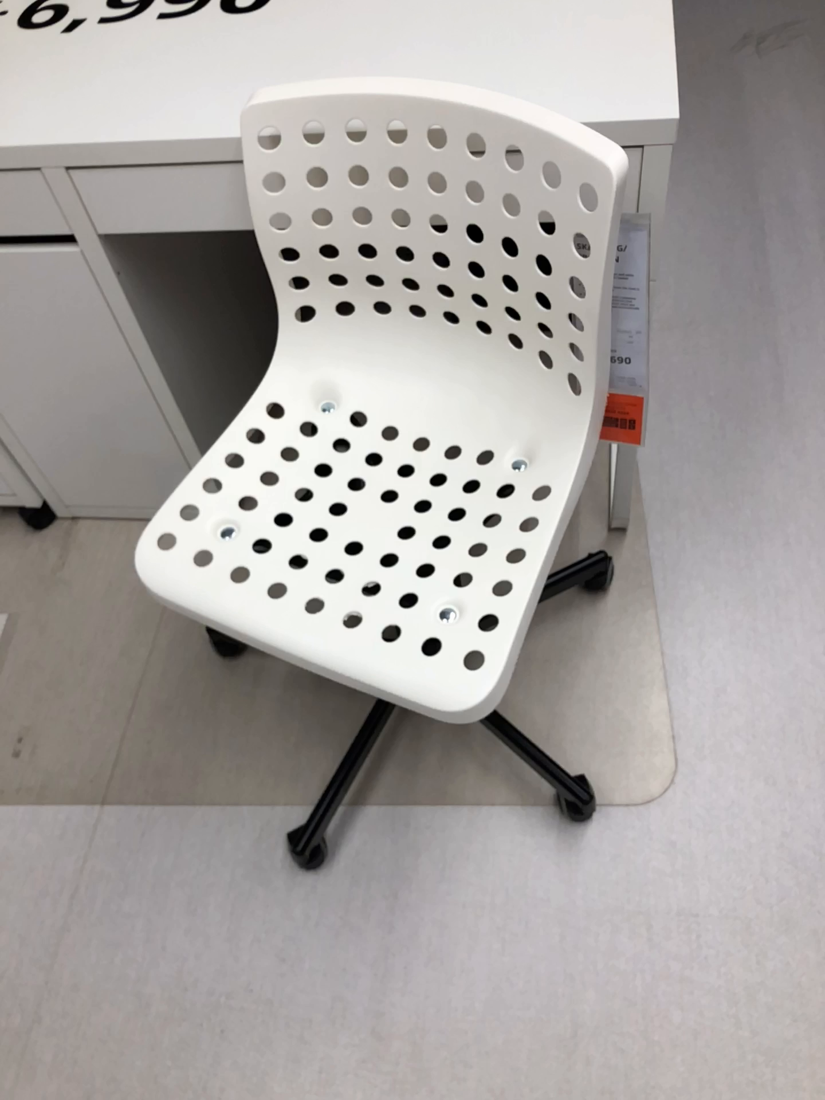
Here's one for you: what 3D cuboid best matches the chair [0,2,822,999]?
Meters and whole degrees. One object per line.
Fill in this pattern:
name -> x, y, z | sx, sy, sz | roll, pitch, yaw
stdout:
chair -> -0.054, -0.044, 1.041 | 0.671, 0.746, 0.652 | 20, 59, 21
